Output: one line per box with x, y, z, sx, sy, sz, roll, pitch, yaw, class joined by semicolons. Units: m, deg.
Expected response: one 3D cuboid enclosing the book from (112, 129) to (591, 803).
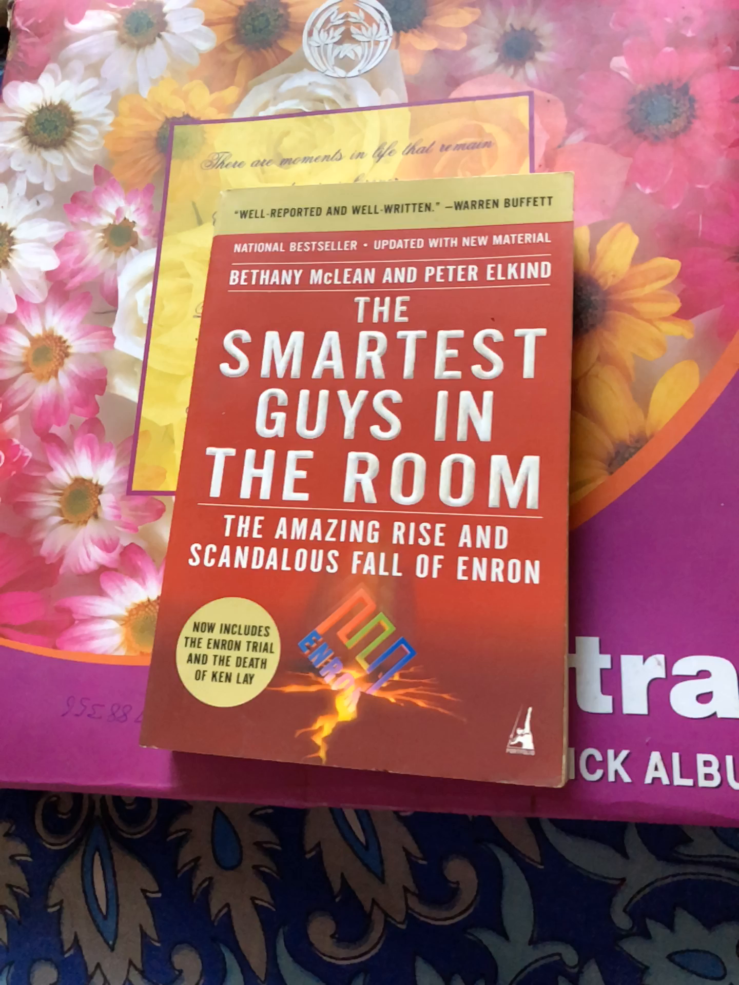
0.000;-0.015;0.298;0.150;0.040;0.220;1;76;16;book
